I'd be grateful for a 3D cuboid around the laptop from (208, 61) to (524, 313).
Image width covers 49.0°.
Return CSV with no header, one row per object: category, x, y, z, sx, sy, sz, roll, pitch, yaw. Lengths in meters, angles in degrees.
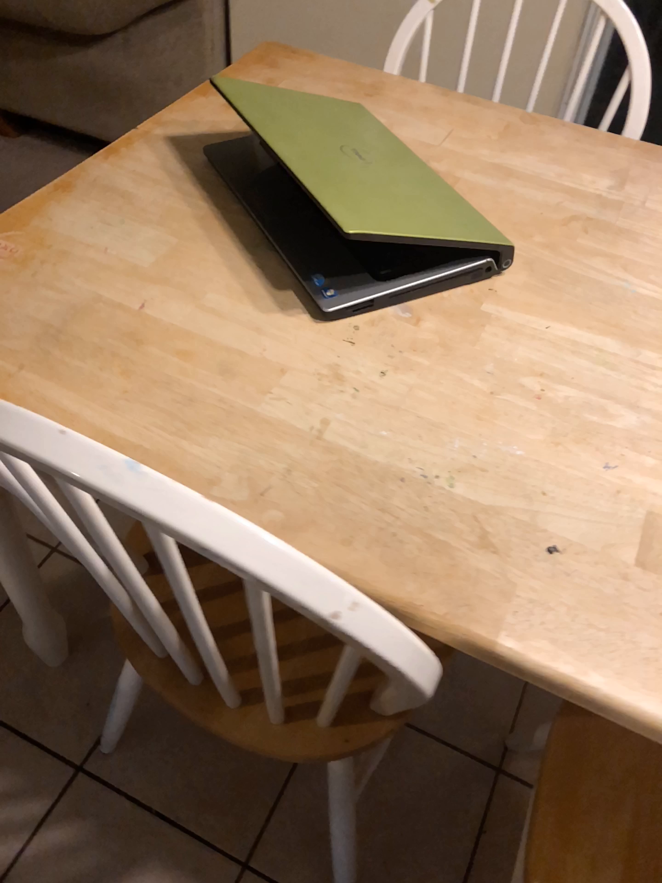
laptop,0.023,-0.321,0.863,0.227,0.076,0.360,-19,53,-18
